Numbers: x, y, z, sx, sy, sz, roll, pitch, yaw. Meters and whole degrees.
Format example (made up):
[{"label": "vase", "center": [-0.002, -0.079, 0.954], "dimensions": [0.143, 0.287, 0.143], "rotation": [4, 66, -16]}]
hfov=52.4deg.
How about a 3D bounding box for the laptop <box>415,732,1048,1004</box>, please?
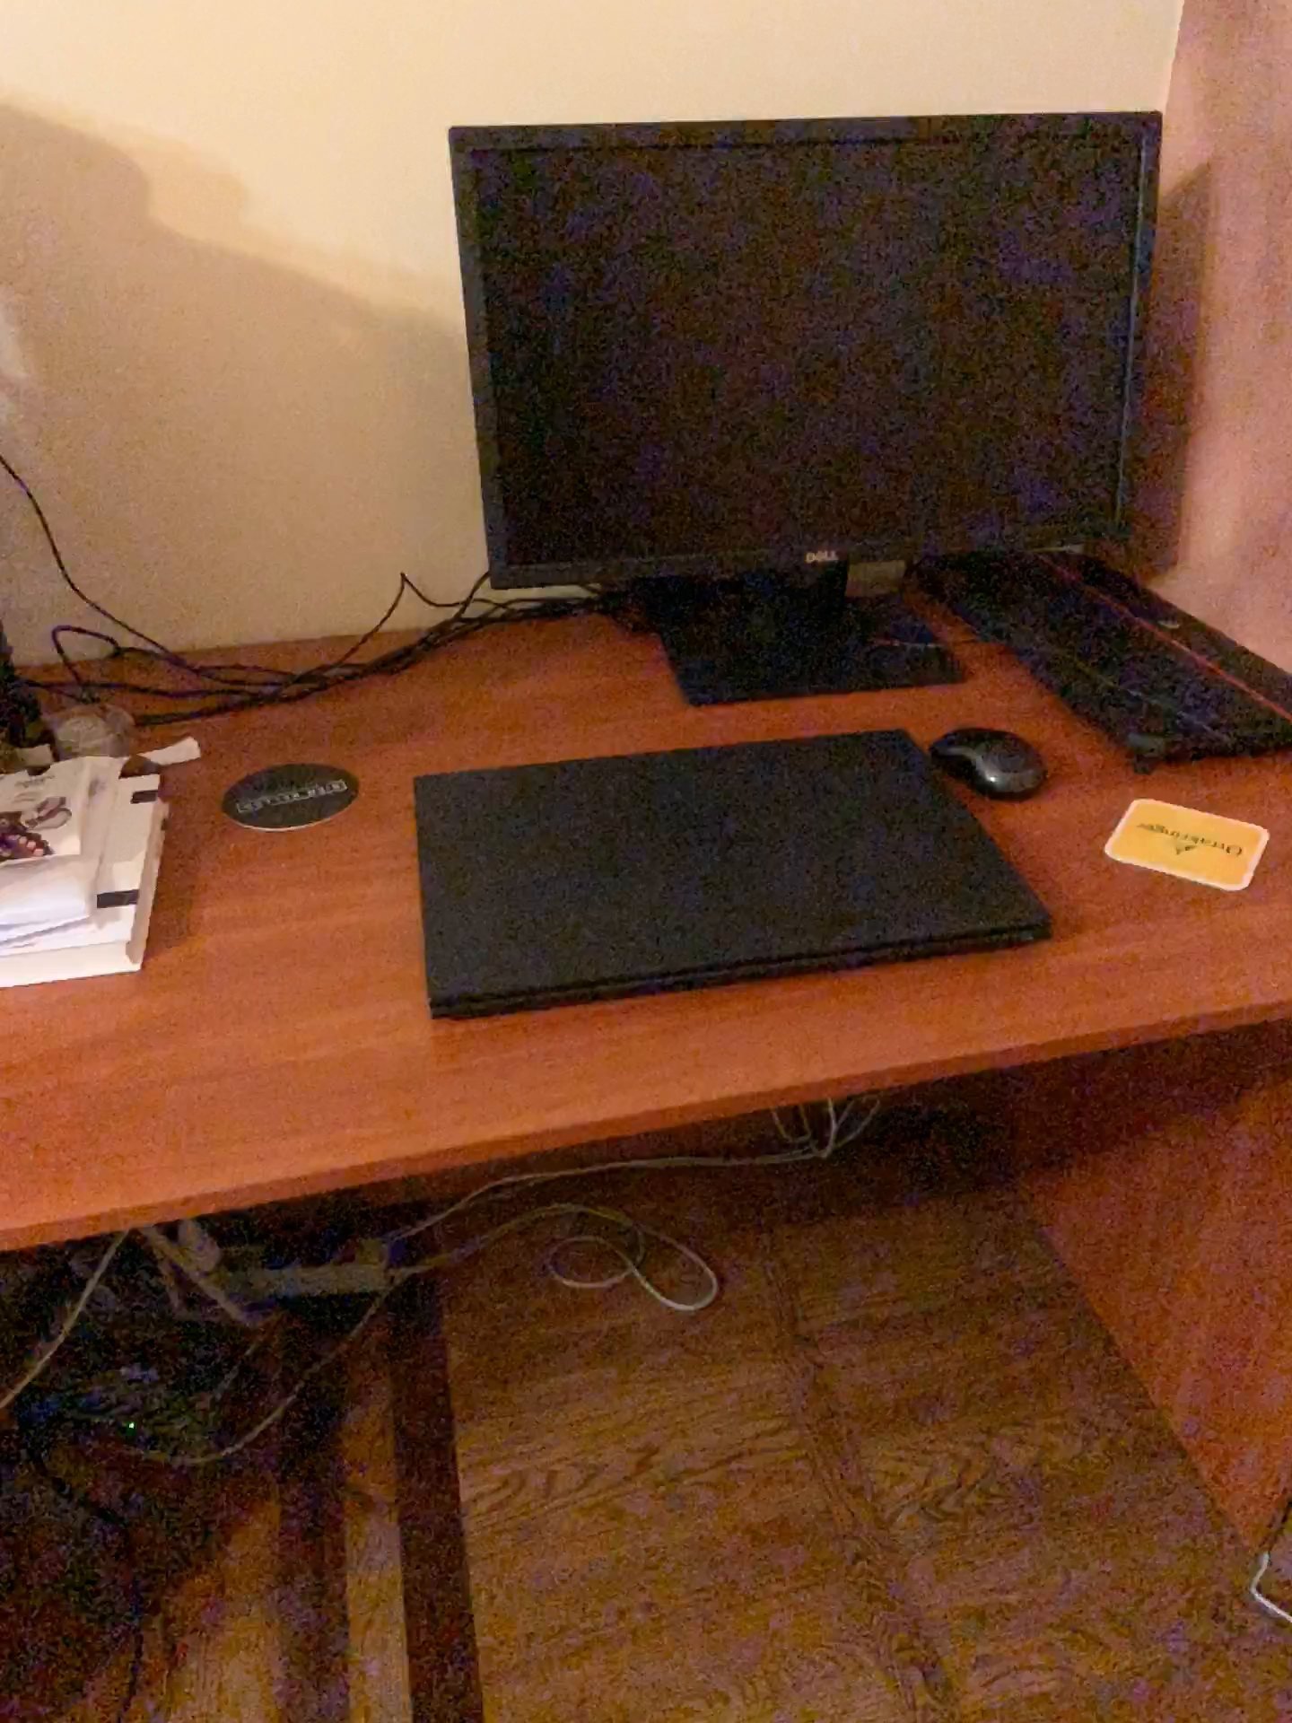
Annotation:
[{"label": "laptop", "center": [0.038, -0.010, 0.840], "dimensions": [0.359, 0.002, 0.249], "rotation": [-6, 33, -10]}]
